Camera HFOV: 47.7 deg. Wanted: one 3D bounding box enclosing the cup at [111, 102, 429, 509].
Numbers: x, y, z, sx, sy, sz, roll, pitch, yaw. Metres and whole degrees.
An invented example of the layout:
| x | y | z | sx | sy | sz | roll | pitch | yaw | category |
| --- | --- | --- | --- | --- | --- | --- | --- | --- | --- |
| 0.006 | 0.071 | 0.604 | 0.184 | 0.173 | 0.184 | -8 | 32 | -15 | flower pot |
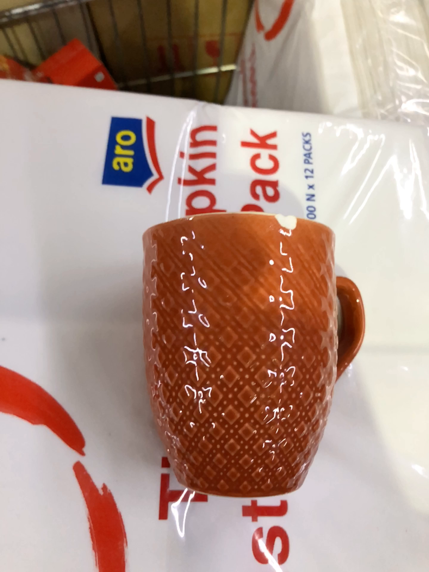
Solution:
| x | y | z | sx | sy | sz | roll | pitch | yaw | category |
| --- | --- | --- | --- | --- | --- | --- | --- | --- | --- |
| 0.030 | 0.015 | 0.163 | 0.070 | 0.100 | 0.090 | -13 | 69 | 40 | cup |
